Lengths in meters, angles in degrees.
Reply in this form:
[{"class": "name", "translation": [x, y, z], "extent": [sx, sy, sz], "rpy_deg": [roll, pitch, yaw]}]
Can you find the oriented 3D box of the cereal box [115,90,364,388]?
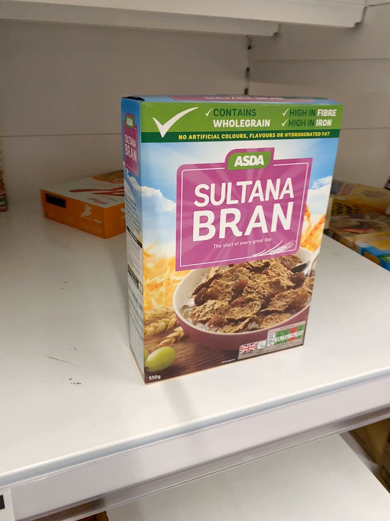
[{"class": "cereal box", "translation": [0.037, -0.025, 0.409], "extent": [0.210, 0.268, 0.070], "rpy_deg": [-8, 26, -21]}]
